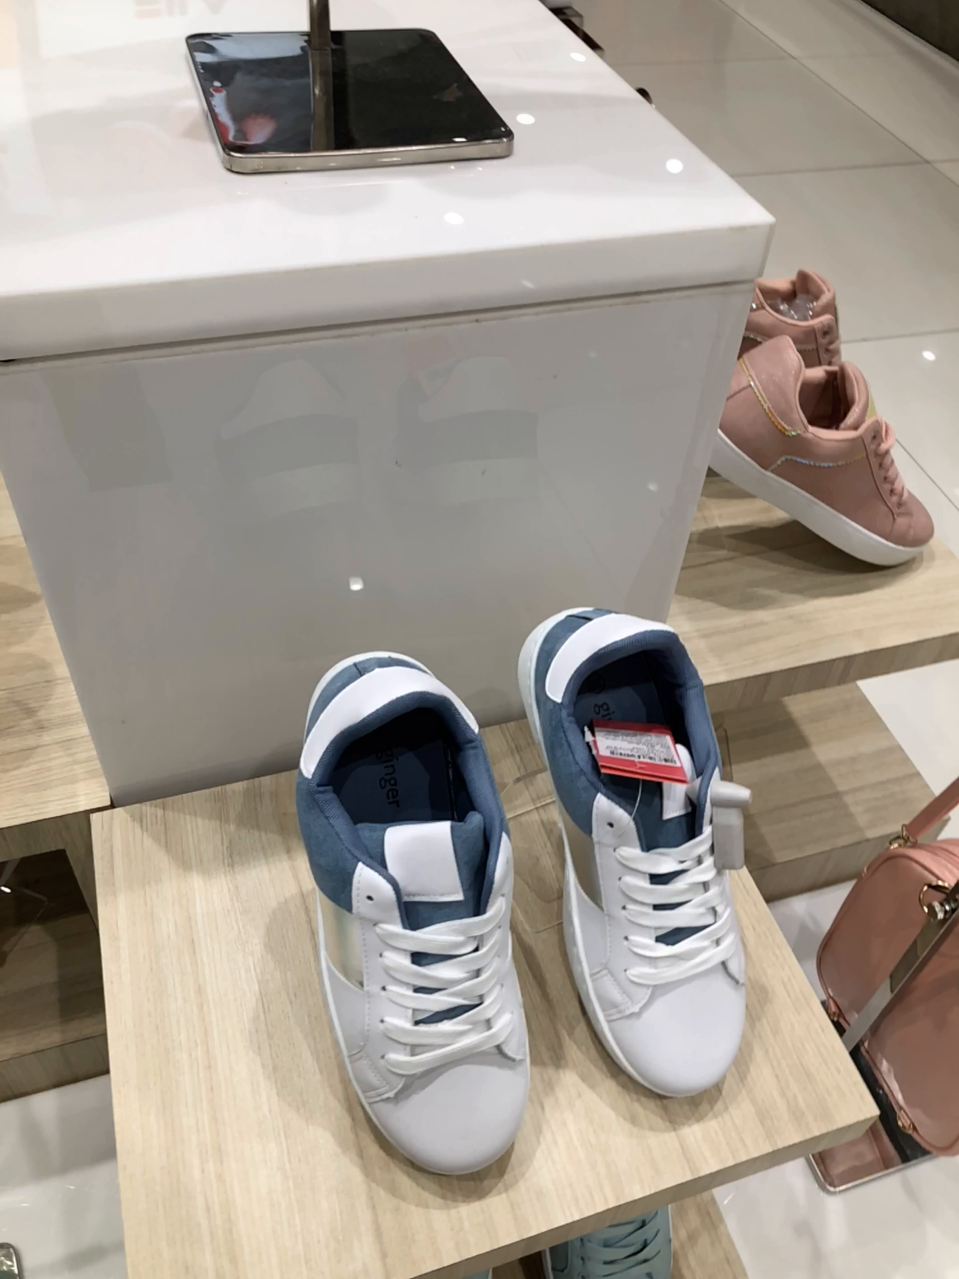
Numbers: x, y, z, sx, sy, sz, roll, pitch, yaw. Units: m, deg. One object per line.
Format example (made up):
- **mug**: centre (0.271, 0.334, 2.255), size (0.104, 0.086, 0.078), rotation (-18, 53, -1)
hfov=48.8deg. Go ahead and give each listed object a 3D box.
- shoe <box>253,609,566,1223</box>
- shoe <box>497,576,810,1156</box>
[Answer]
- **shoe**: centre (-0.037, 0.124, 0.519), size (0.100, 0.260, 0.090), rotation (-10, 7, -14)
- **shoe**: centre (0.087, 0.105, 0.544), size (0.100, 0.260, 0.090), rotation (-10, 7, -14)
